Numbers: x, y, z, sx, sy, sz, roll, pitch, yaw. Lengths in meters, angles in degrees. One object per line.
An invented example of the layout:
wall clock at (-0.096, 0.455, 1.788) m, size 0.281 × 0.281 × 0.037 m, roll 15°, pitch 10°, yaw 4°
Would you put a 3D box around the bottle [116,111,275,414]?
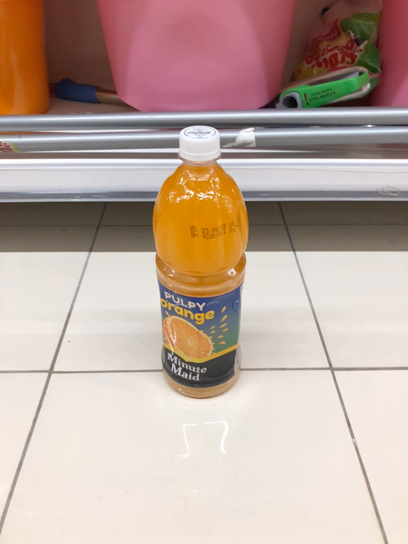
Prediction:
bottle at (-0.002, 0.000, 0.399) m, size 0.090 × 0.245 × 0.091 m, roll 0°, pitch 36°, yaw 0°
